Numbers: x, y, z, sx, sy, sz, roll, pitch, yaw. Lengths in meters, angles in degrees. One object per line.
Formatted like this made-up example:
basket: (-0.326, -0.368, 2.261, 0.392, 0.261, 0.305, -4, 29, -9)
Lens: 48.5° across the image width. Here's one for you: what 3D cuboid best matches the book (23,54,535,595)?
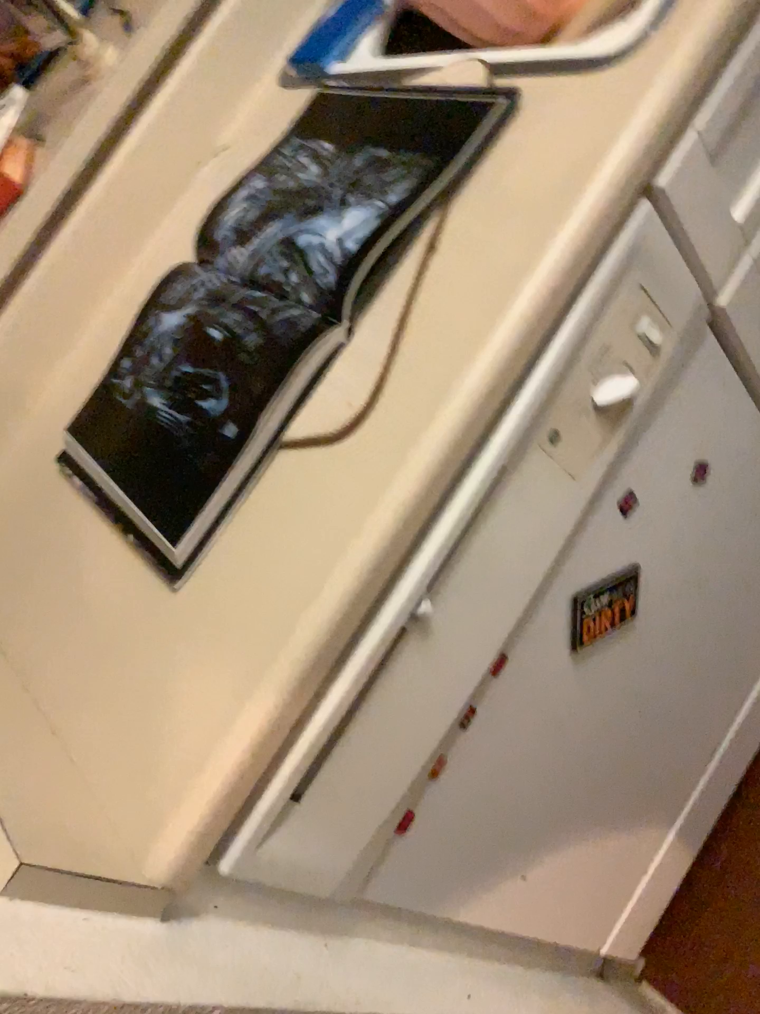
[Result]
book: (-0.131, -0.216, 0.832, 0.530, 0.040, 0.350, -55, 43, -2)
